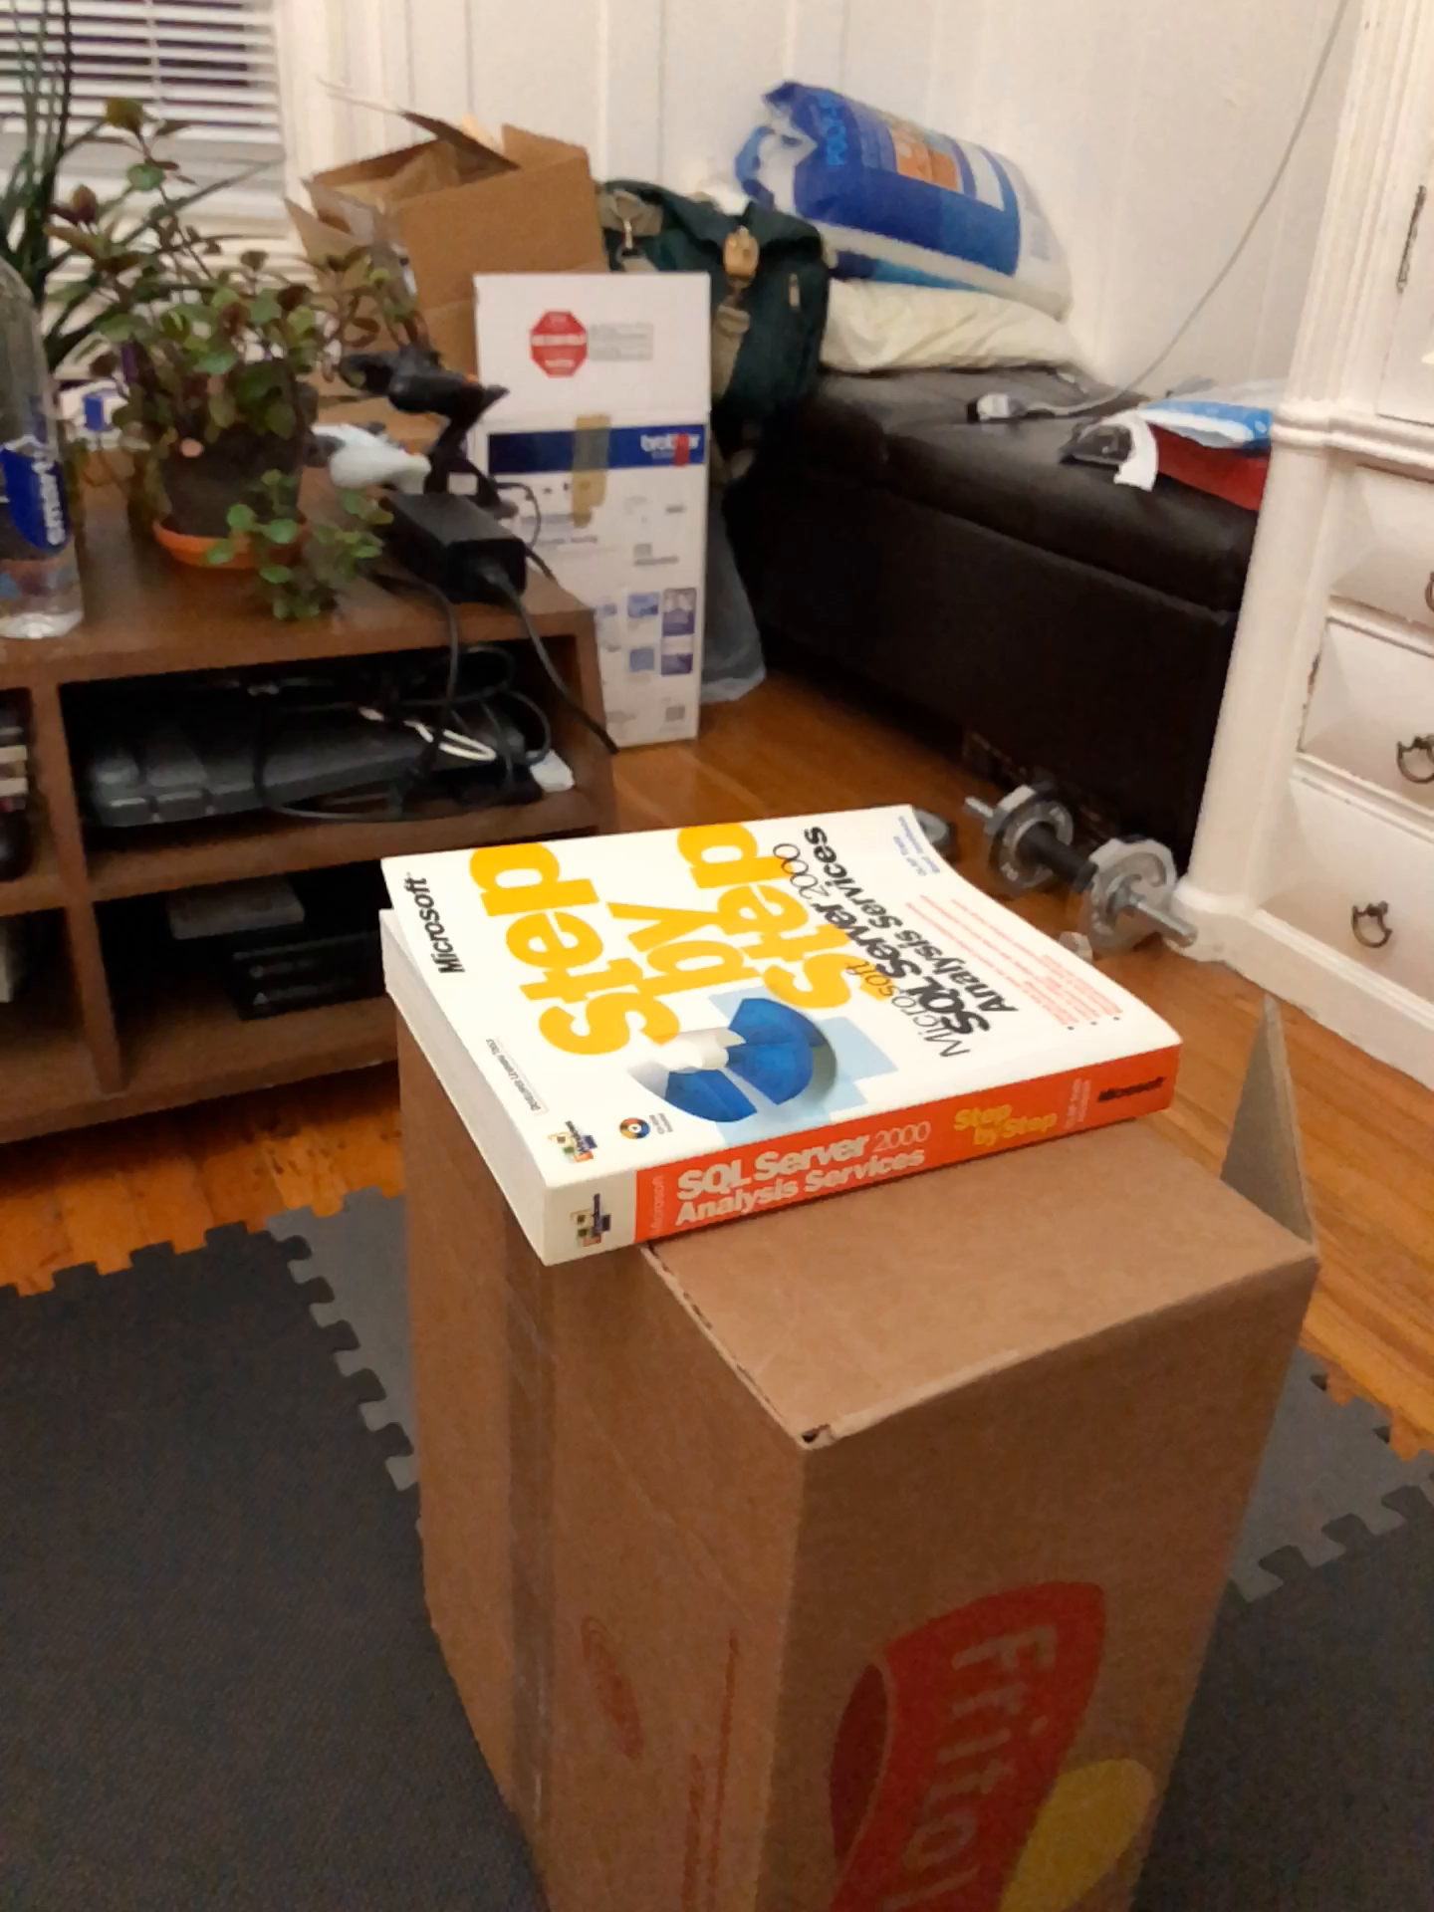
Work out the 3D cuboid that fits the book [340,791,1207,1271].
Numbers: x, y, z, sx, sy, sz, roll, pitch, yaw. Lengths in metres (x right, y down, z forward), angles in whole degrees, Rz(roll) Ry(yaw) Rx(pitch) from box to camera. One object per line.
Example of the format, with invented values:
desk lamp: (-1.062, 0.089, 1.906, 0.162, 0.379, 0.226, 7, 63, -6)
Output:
book: (0.012, 0.008, 0.574, 0.240, 0.050, 0.201, -10, 28, -27)
